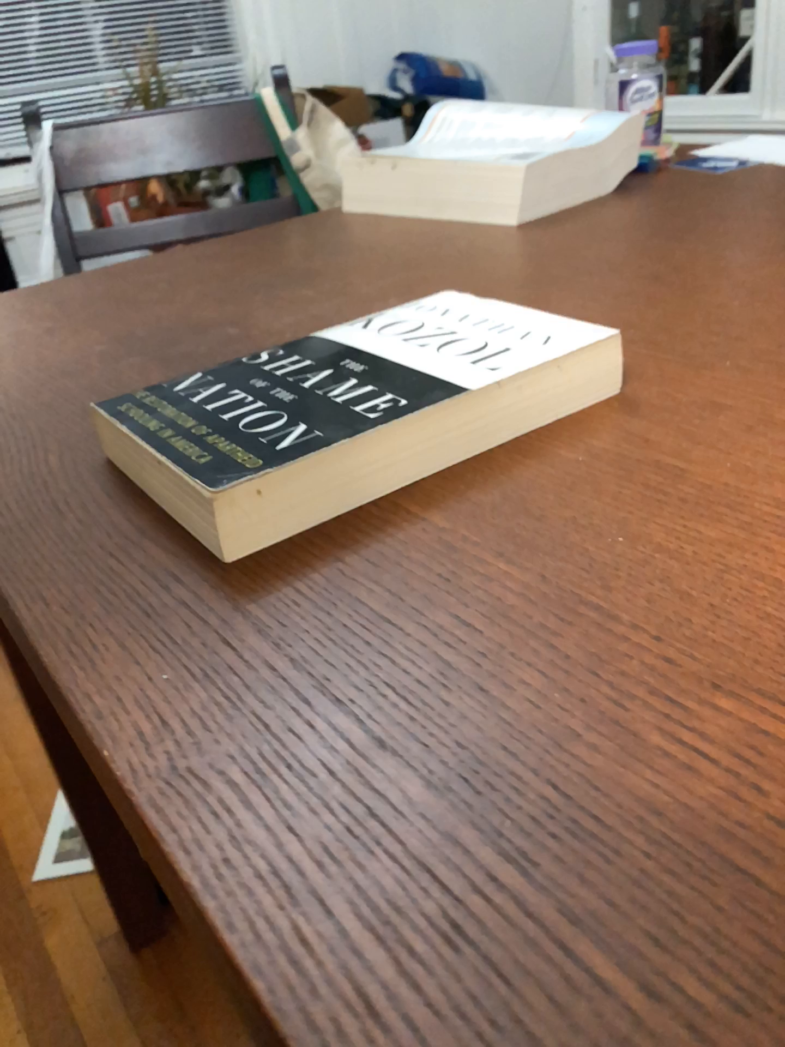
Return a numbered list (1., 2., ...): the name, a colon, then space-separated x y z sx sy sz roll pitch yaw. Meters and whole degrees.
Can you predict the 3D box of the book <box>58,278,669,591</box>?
1. book: -0.015 -0.060 0.403 0.230 0.030 0.161 -24 33 -26
